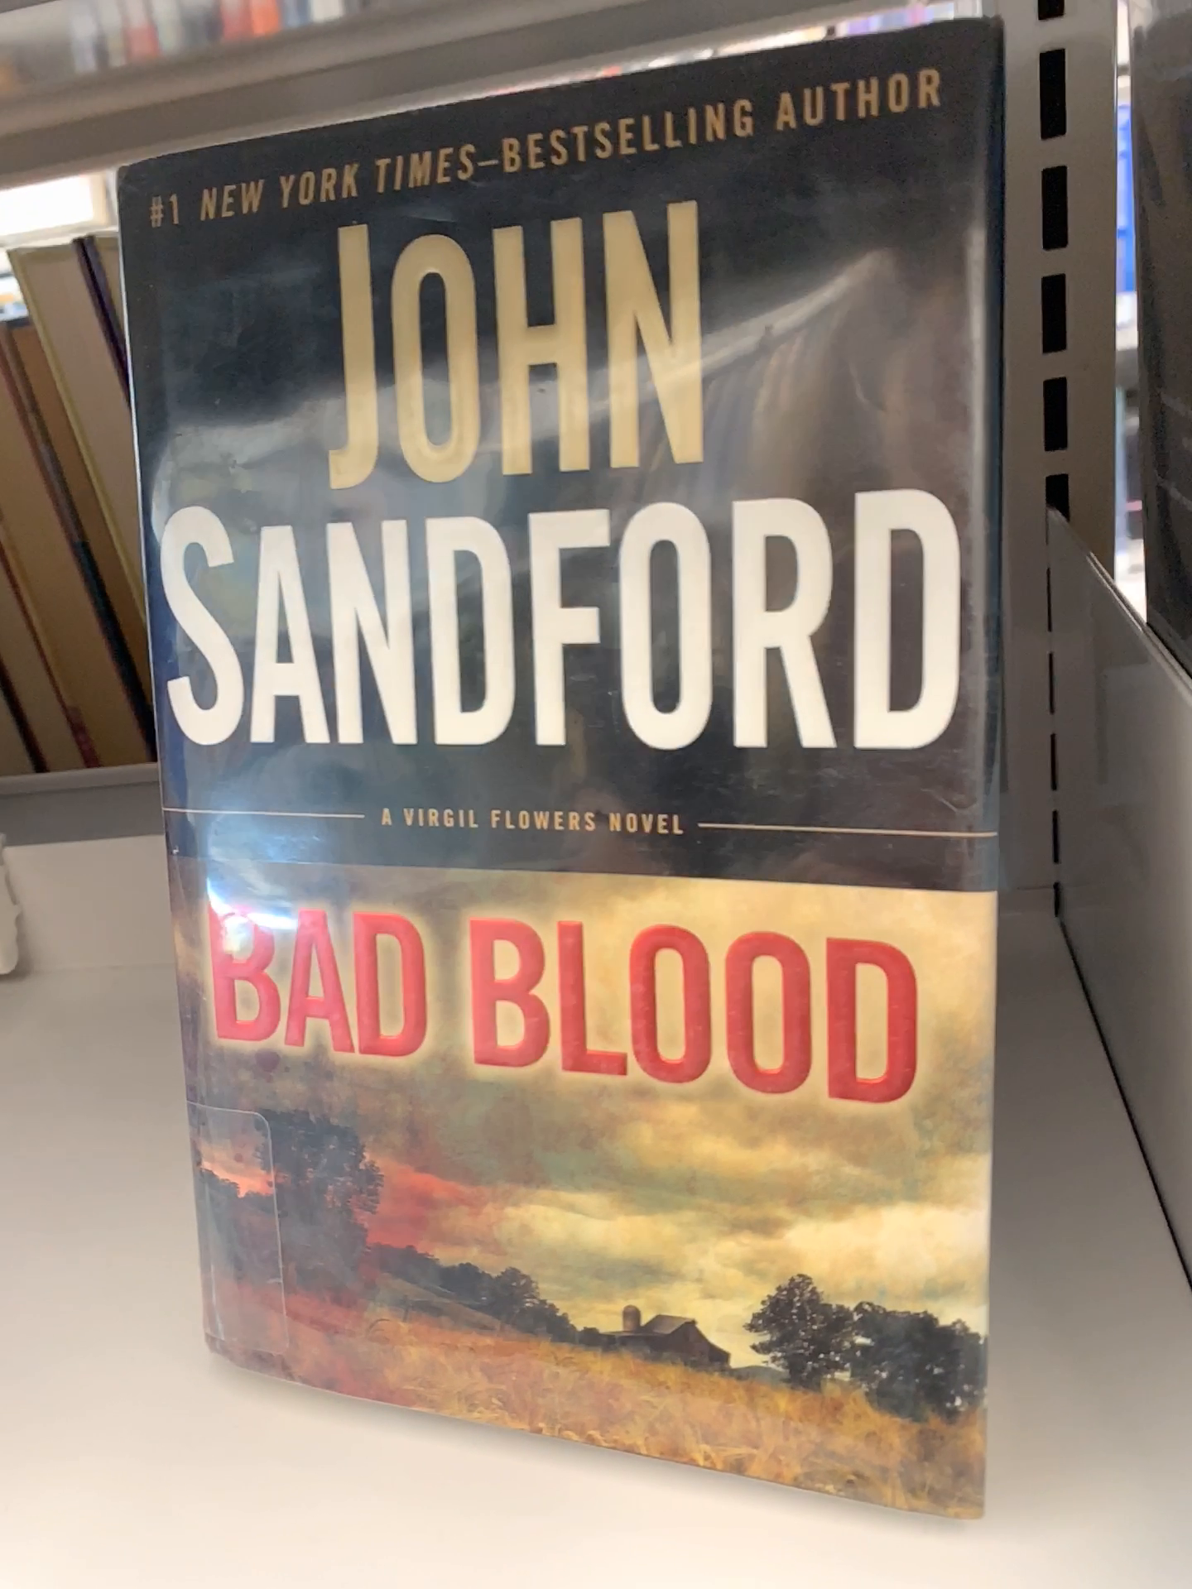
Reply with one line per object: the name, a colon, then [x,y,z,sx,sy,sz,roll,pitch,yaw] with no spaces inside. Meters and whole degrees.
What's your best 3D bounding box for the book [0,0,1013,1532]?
book: [-0.016,-0.001,0.218,0.165,0.215,0.050,0,11,21]
